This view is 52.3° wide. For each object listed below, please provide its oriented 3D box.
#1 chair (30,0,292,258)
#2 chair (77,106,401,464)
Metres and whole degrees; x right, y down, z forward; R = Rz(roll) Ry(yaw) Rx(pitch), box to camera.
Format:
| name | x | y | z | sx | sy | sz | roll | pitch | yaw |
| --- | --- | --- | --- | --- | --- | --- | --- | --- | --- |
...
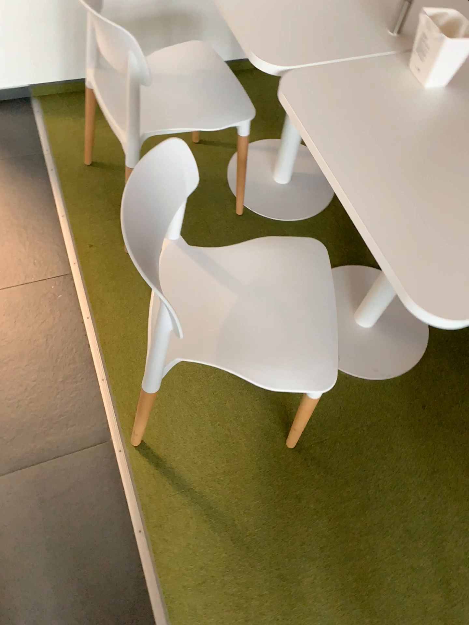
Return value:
| name | x | y | z | sx | sy | sz | roll | pitch | yaw |
| --- | --- | --- | --- | --- | --- | --- | --- | --- | --- |
| chair | -0.241 | -0.685 | 1.572 | 0.511 | 0.727 | 0.561 | -21 | 65 | -17 |
| chair | -0.008 | 0.010 | 1.183 | 0.500 | 0.747 | 0.512 | 6 | 60 | -3 |
